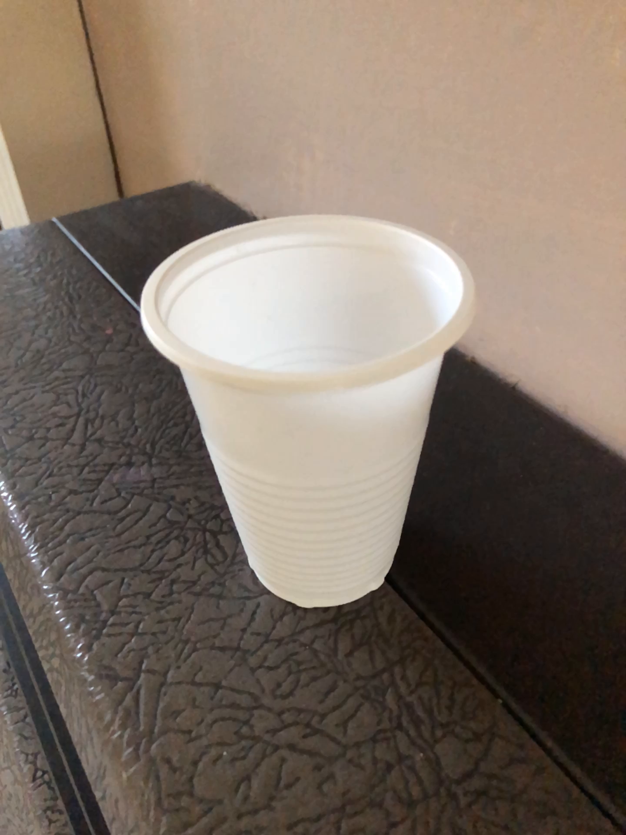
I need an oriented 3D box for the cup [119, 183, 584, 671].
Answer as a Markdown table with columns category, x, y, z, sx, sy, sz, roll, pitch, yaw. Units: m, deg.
| category | x | y | z | sx | sy | sz | roll | pitch | yaw |
| --- | --- | --- | --- | --- | --- | --- | --- | --- | --- |
| cup | 0.007 | -0.003 | 0.181 | 0.072 | 0.073 | 0.080 | -24 | 43 | -21 |
